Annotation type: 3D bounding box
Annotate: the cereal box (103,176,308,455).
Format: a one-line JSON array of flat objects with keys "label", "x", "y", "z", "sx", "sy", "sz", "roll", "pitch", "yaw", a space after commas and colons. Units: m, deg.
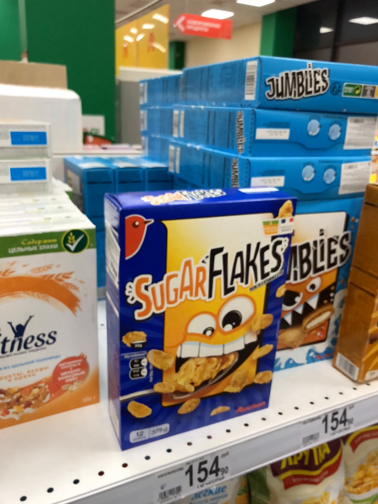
[{"label": "cereal box", "x": 0.014, "y": 0.063, "z": 0.476, "sx": 0.200, "sy": 0.279, "sz": 0.070, "roll": -6, "pitch": 20, "yaw": -24}]
